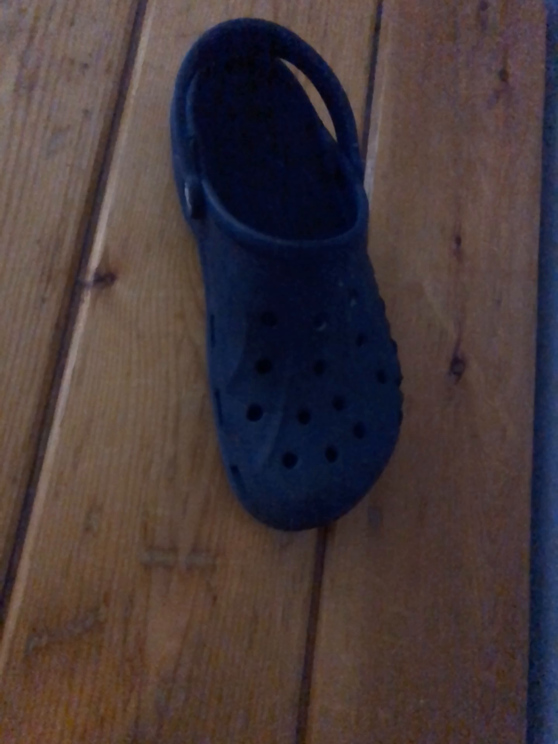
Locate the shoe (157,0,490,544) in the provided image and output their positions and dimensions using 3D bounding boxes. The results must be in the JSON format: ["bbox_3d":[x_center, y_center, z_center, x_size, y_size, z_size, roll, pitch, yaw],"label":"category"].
[{"bbox_3d":[0.013,-0.061,0.356,0.130,0.080,0.290,-5,78,-17],"label":"shoe"}]
